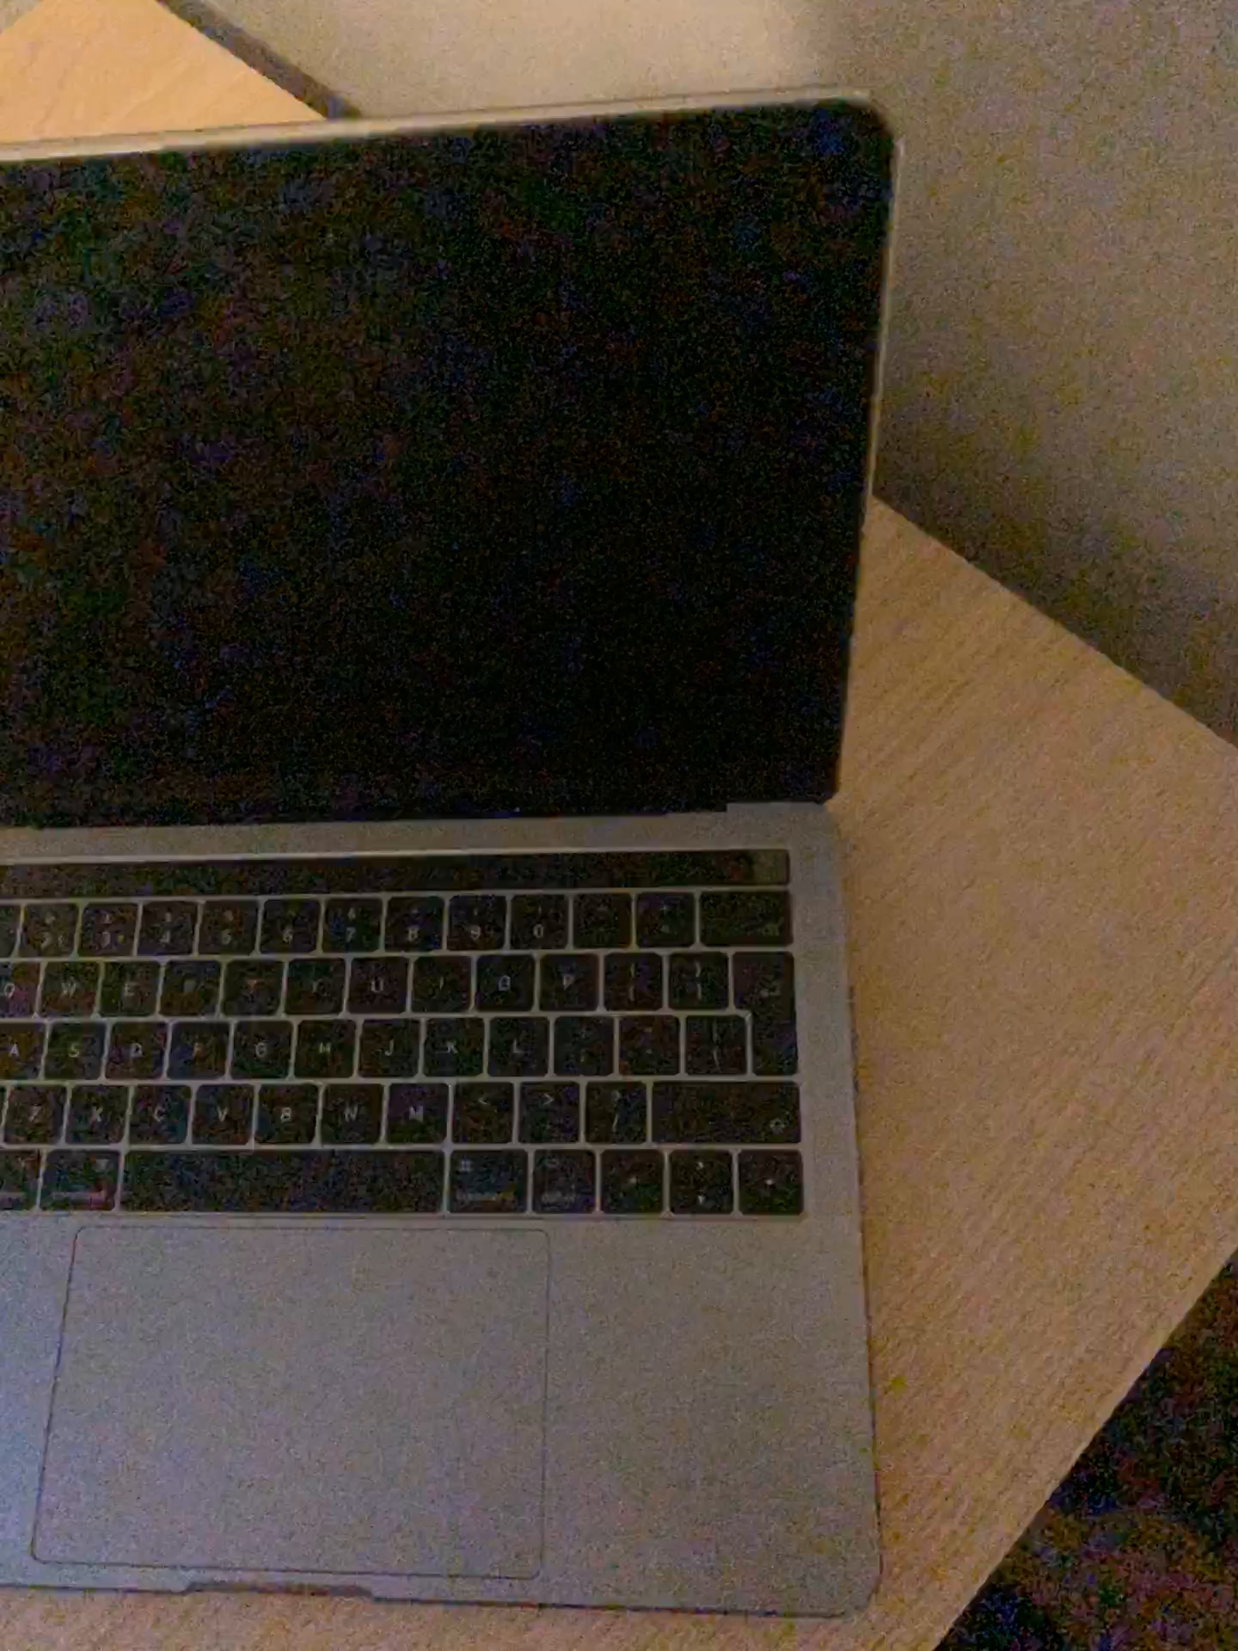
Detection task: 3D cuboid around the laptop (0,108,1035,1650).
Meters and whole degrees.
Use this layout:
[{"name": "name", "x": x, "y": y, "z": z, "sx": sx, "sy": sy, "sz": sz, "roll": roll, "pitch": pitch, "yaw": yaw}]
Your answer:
[{"name": "laptop", "x": -0.093, "y": 0.038, "z": 0.276, "sx": 0.294, "sy": 0.198, "sz": 0.257, "roll": -1, "pitch": 70, "yaw": 6}]
